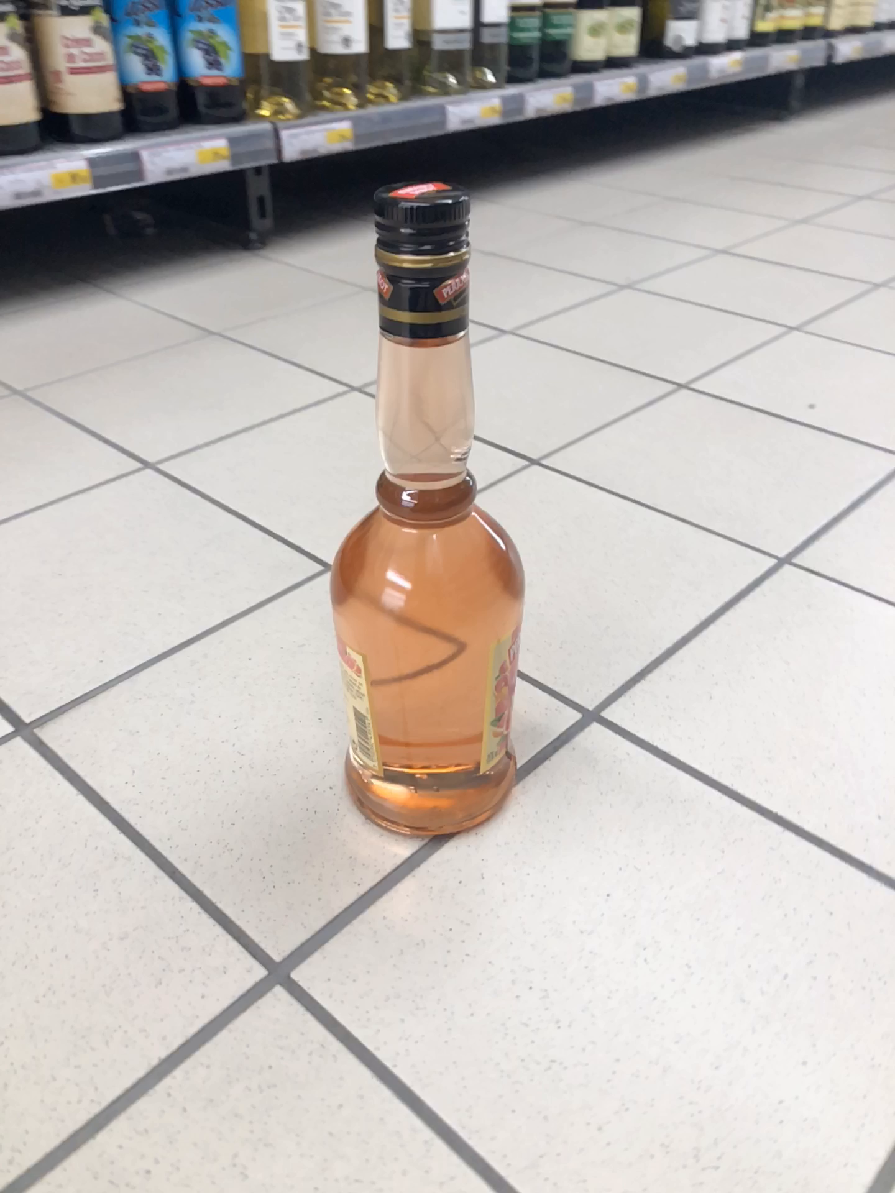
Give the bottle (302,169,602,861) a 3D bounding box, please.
[{"bbox_3d":[-0.004,-0.023,0.370,0.080,0.239,0.090,-5,33,-7],"label":"bottle"}]
